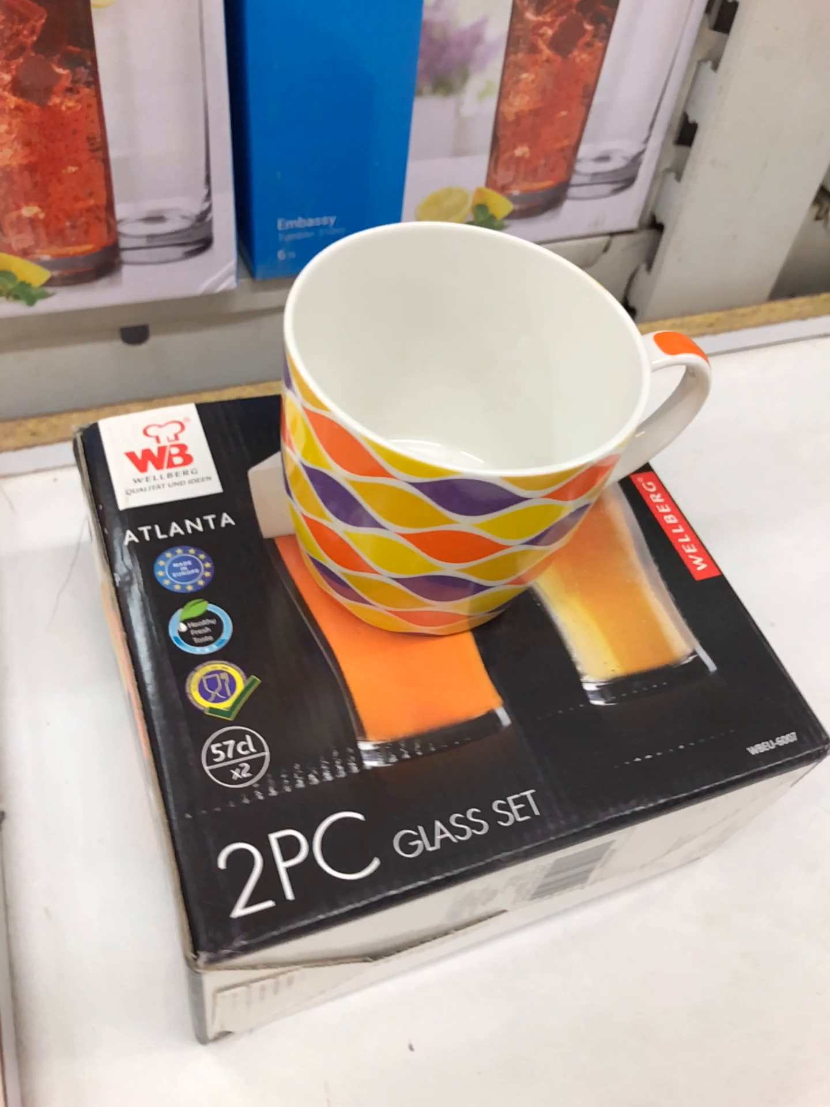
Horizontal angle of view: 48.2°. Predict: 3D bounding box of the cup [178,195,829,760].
[{"bbox_3d":[0.016,-0.024,0.251,0.130,0.089,0.090,-15,54,-18],"label":"cup"}]
